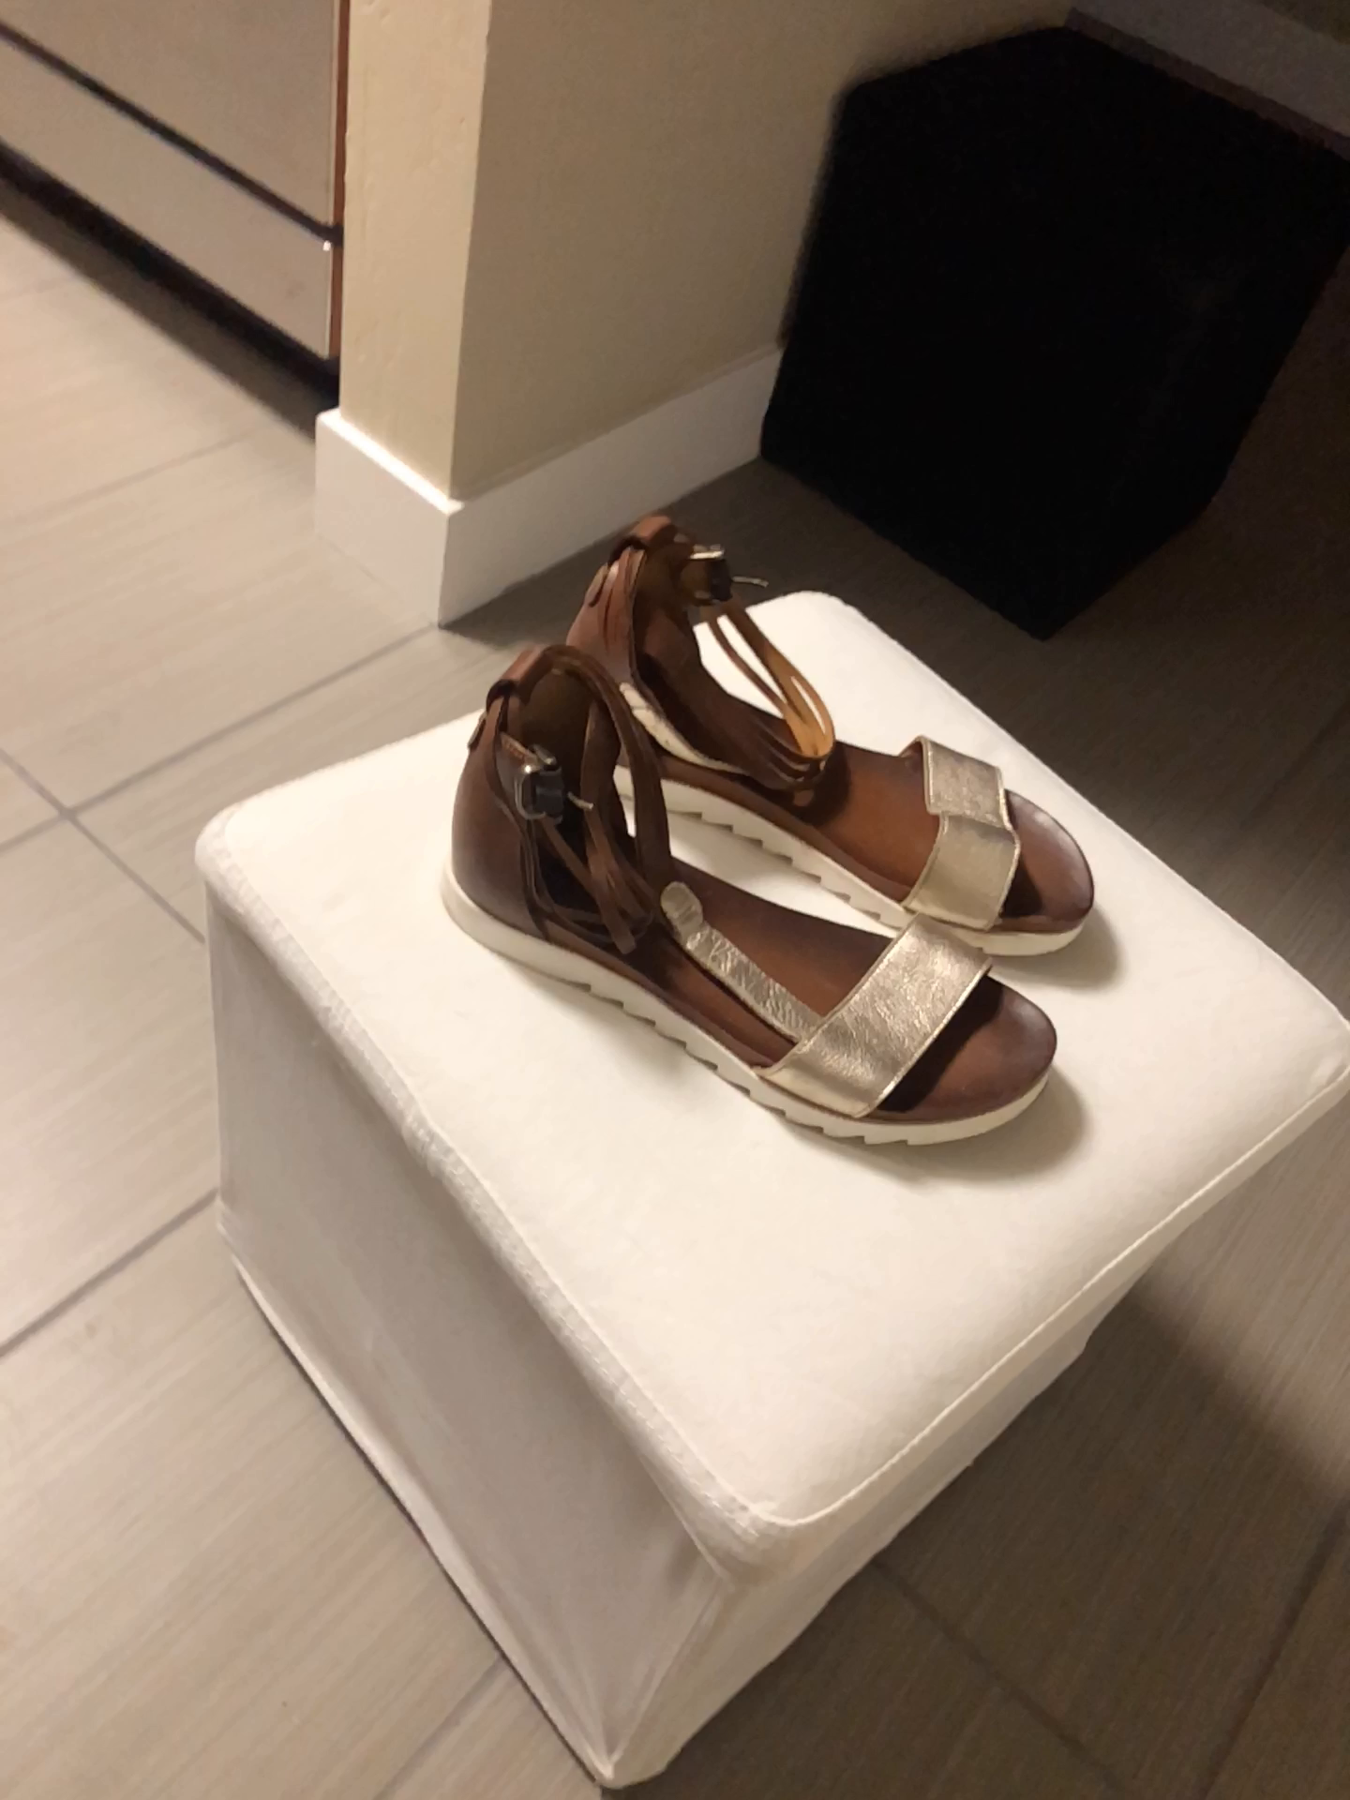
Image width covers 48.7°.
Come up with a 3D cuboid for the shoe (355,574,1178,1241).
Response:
[{"bbox_3d":[0.029,-0.002,0.537,0.260,0.090,0.110,26,48,8],"label":"shoe"}]

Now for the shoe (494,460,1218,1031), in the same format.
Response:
[{"bbox_3d":[0.071,-0.068,0.615,0.260,0.090,0.110,26,48,8],"label":"shoe"}]
